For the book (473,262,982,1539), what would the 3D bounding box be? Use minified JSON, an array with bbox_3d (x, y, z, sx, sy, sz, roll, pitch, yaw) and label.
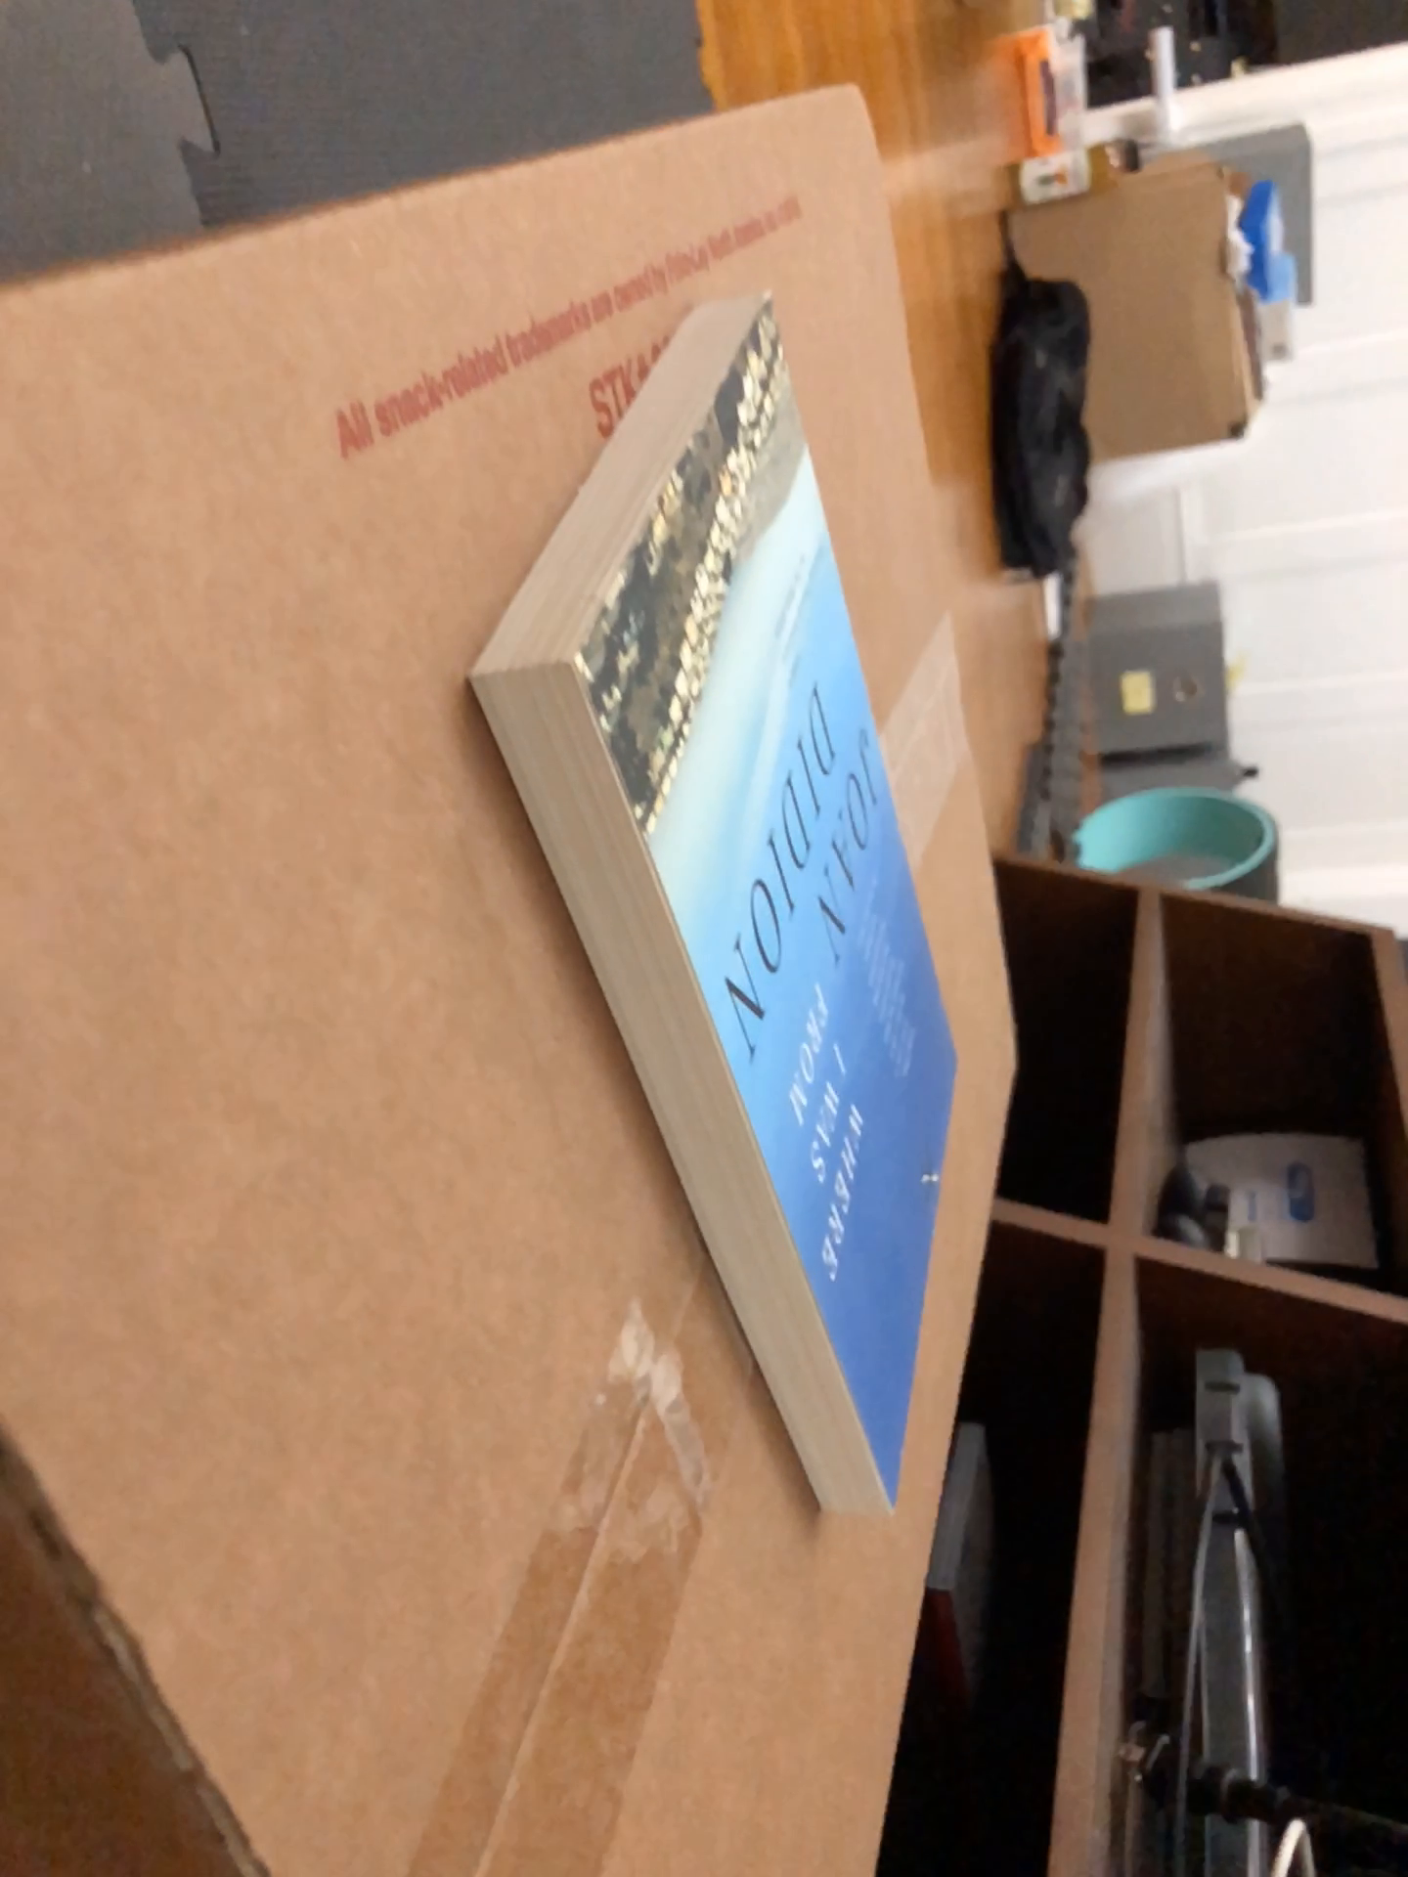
[{"bbox_3d":[0.023,-0.002,0.309,0.140,0.020,0.210,-72,151,-46],"label":"book"}]
